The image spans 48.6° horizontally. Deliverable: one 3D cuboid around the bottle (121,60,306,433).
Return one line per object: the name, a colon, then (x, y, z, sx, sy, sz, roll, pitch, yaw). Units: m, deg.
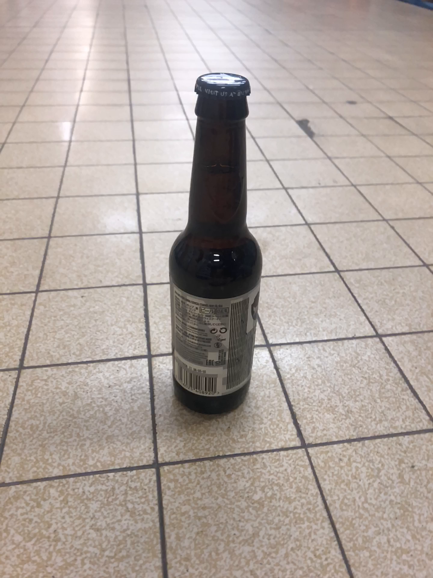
bottle: (-0.007, -0.017, 0.309, 0.070, 0.222, 0.070, 1, 36, -1)
